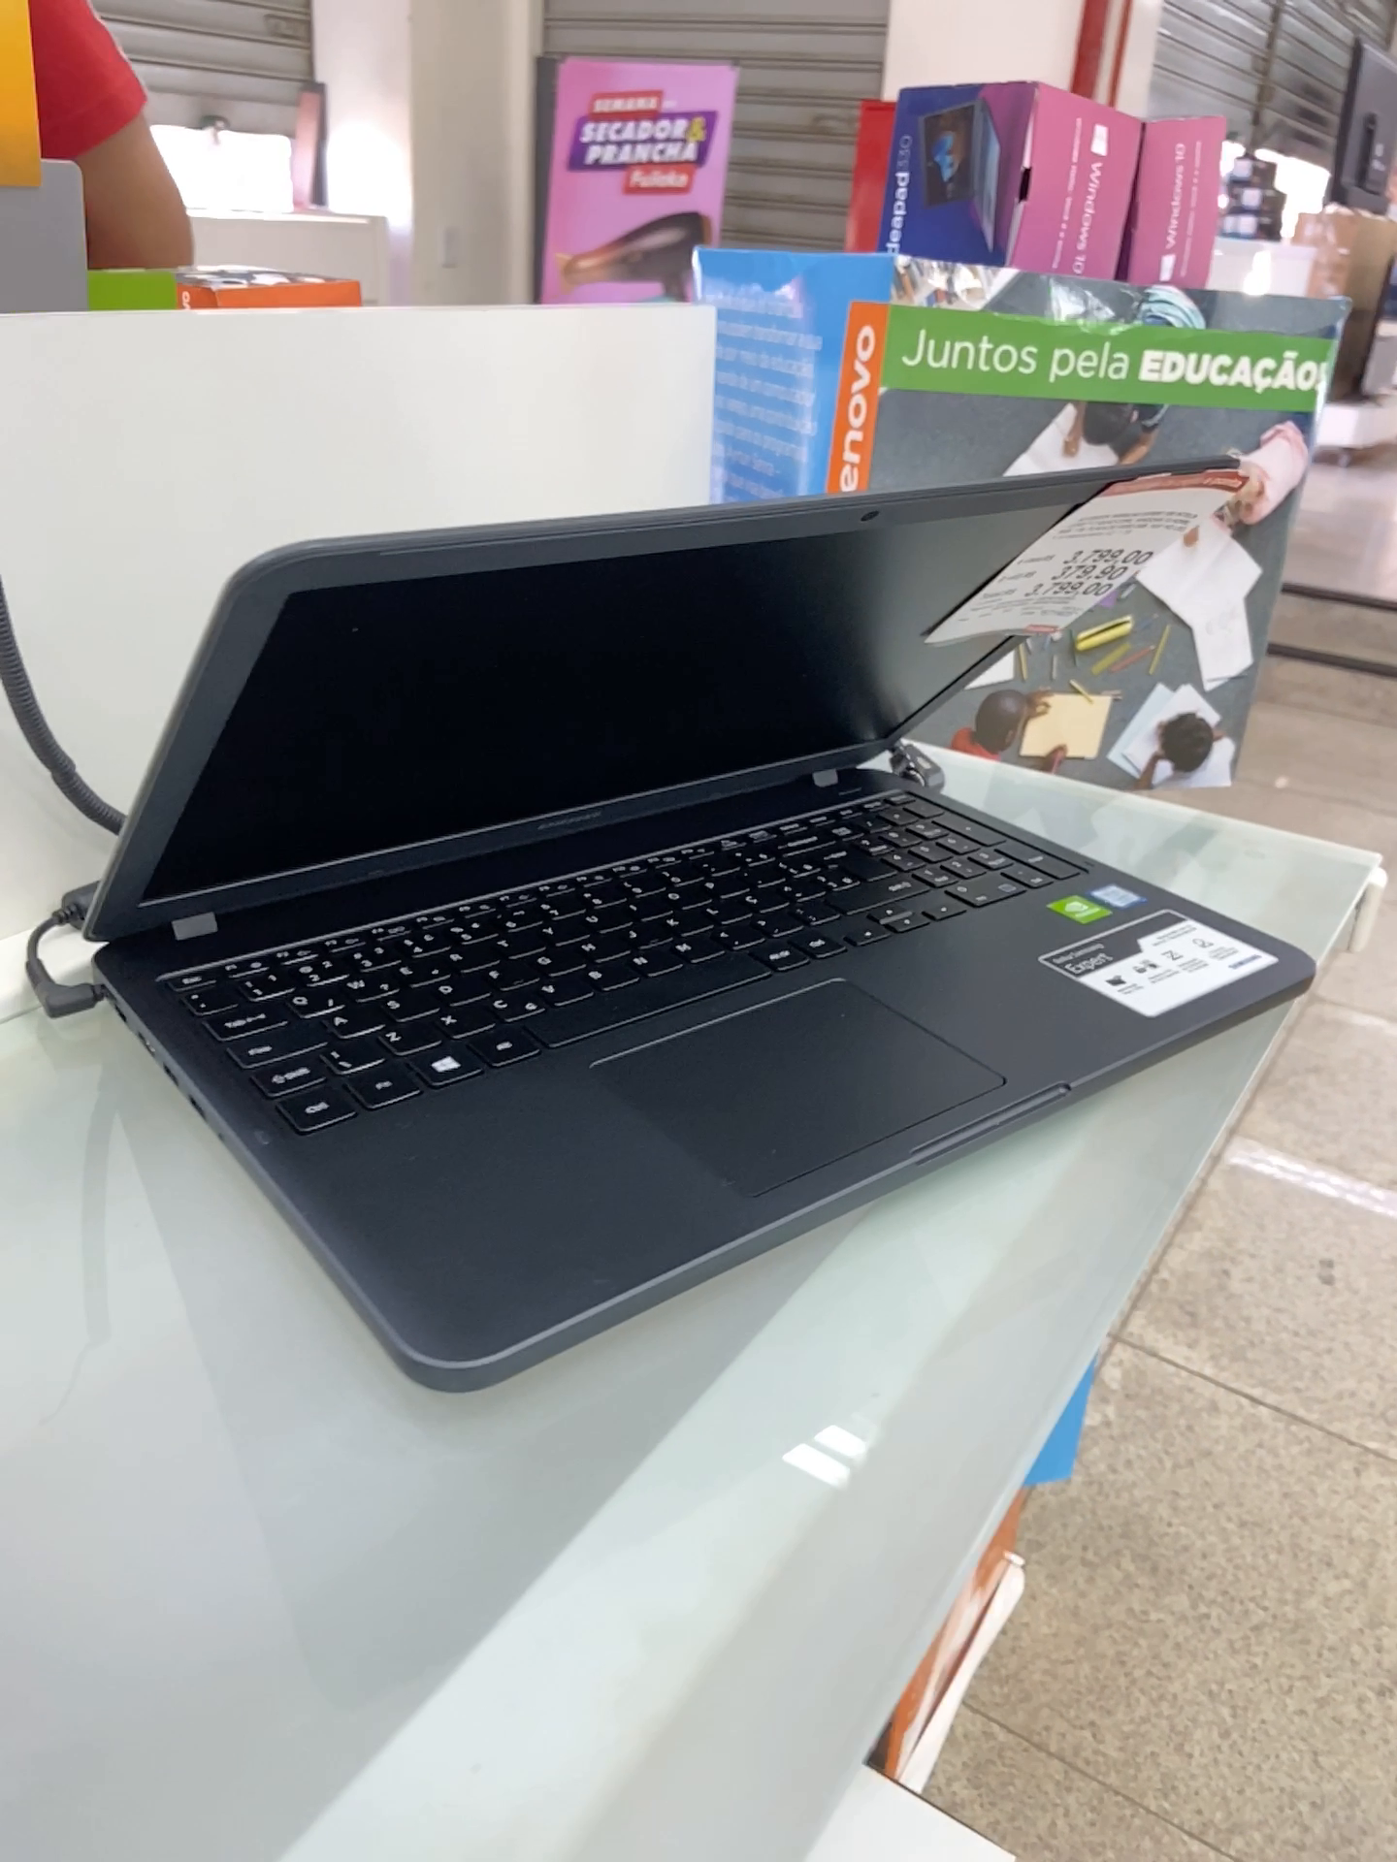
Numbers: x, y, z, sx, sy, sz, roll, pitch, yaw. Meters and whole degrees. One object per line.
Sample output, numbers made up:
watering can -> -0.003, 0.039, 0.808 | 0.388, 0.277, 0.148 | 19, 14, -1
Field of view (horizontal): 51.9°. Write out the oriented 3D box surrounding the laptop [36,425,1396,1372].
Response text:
laptop -> 0.017, -0.061, 0.467 | 0.358, 0.158, 0.232 | -17, 33, -36
